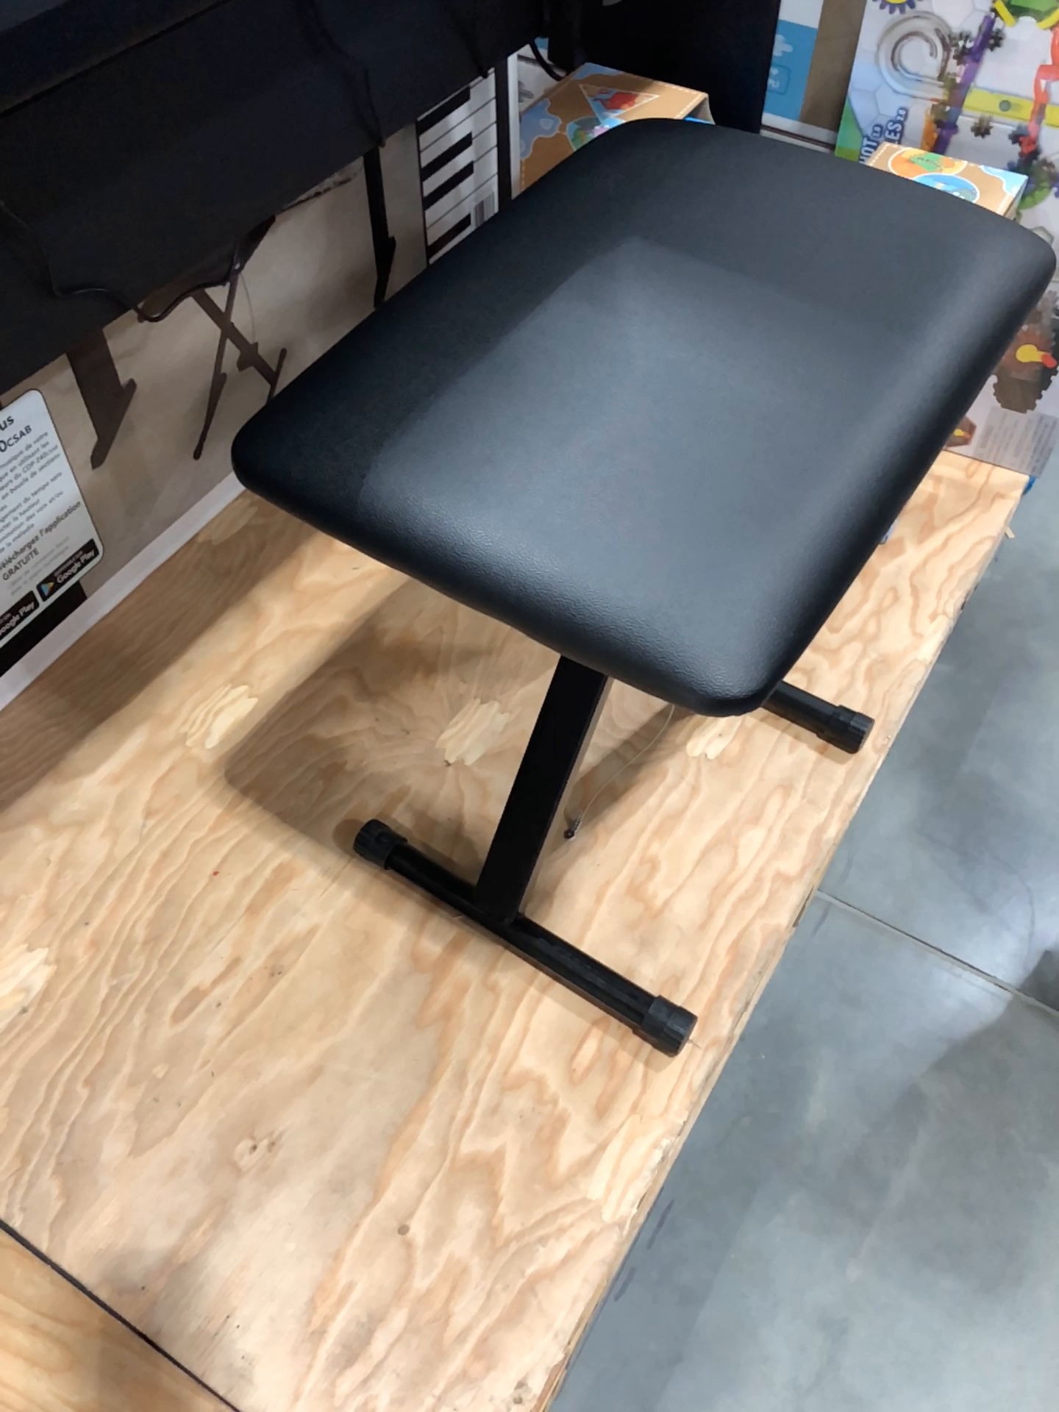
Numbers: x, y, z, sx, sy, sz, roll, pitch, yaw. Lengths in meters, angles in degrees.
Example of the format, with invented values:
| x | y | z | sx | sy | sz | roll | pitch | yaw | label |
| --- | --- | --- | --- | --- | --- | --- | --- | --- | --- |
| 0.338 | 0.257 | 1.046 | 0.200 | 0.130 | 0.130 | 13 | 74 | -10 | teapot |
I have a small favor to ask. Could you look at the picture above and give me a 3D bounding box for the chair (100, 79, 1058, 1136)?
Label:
| x | y | z | sx | sy | sz | roll | pitch | yaw | label |
| --- | --- | --- | --- | --- | --- | --- | --- | --- | --- |
| 0.095 | -0.101 | 0.718 | 0.370 | 0.279 | 0.511 | 27 | 56 | 20 | chair |
